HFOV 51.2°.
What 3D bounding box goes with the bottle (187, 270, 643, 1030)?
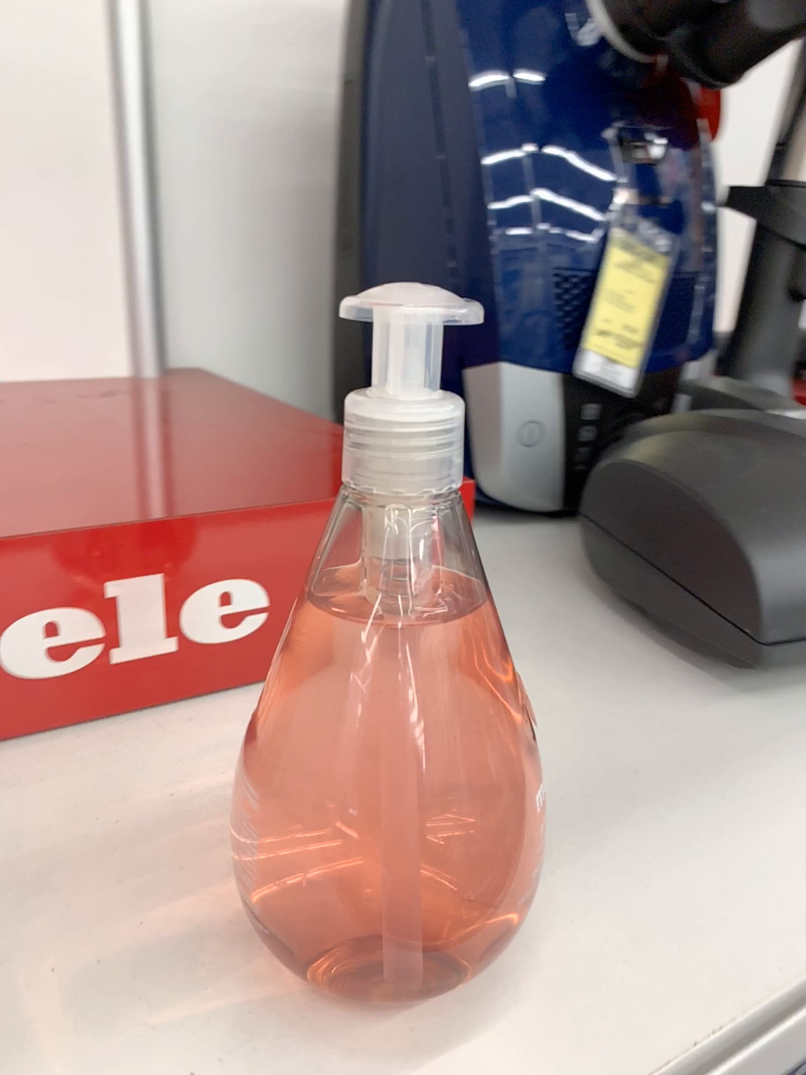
[{"bbox_3d":[0.001,0.021,0.205,0.077,0.160,0.080,2,18,-1],"label":"bottle"}]
